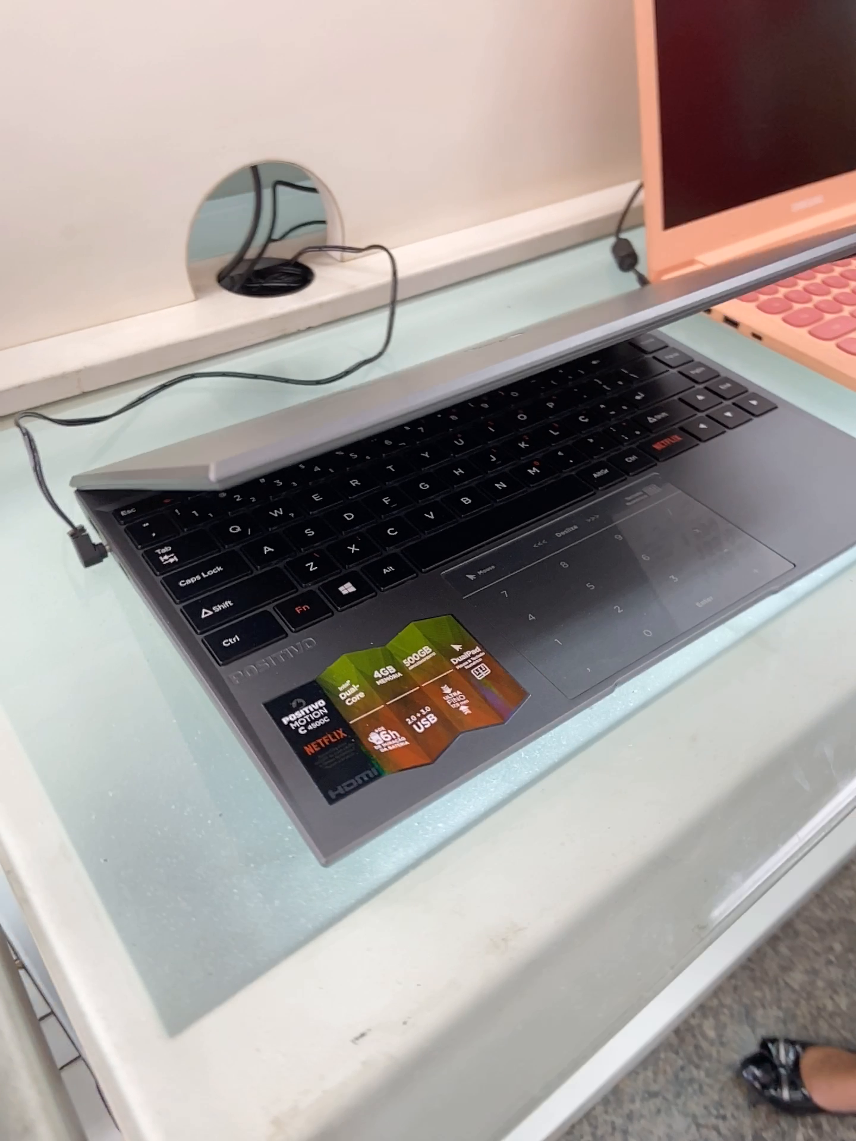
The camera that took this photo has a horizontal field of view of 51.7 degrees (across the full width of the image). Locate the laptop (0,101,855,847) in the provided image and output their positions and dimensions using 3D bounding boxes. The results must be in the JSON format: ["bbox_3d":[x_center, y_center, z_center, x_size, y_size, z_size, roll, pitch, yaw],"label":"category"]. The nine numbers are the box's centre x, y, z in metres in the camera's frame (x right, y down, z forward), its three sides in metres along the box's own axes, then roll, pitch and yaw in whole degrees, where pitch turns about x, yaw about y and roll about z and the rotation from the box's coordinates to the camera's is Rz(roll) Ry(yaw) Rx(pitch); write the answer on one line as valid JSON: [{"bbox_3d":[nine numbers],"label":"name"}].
[{"bbox_3d":[0.044,-0.081,0.362,0.334,0.113,0.211,-24,49,-26],"label":"laptop"}]
